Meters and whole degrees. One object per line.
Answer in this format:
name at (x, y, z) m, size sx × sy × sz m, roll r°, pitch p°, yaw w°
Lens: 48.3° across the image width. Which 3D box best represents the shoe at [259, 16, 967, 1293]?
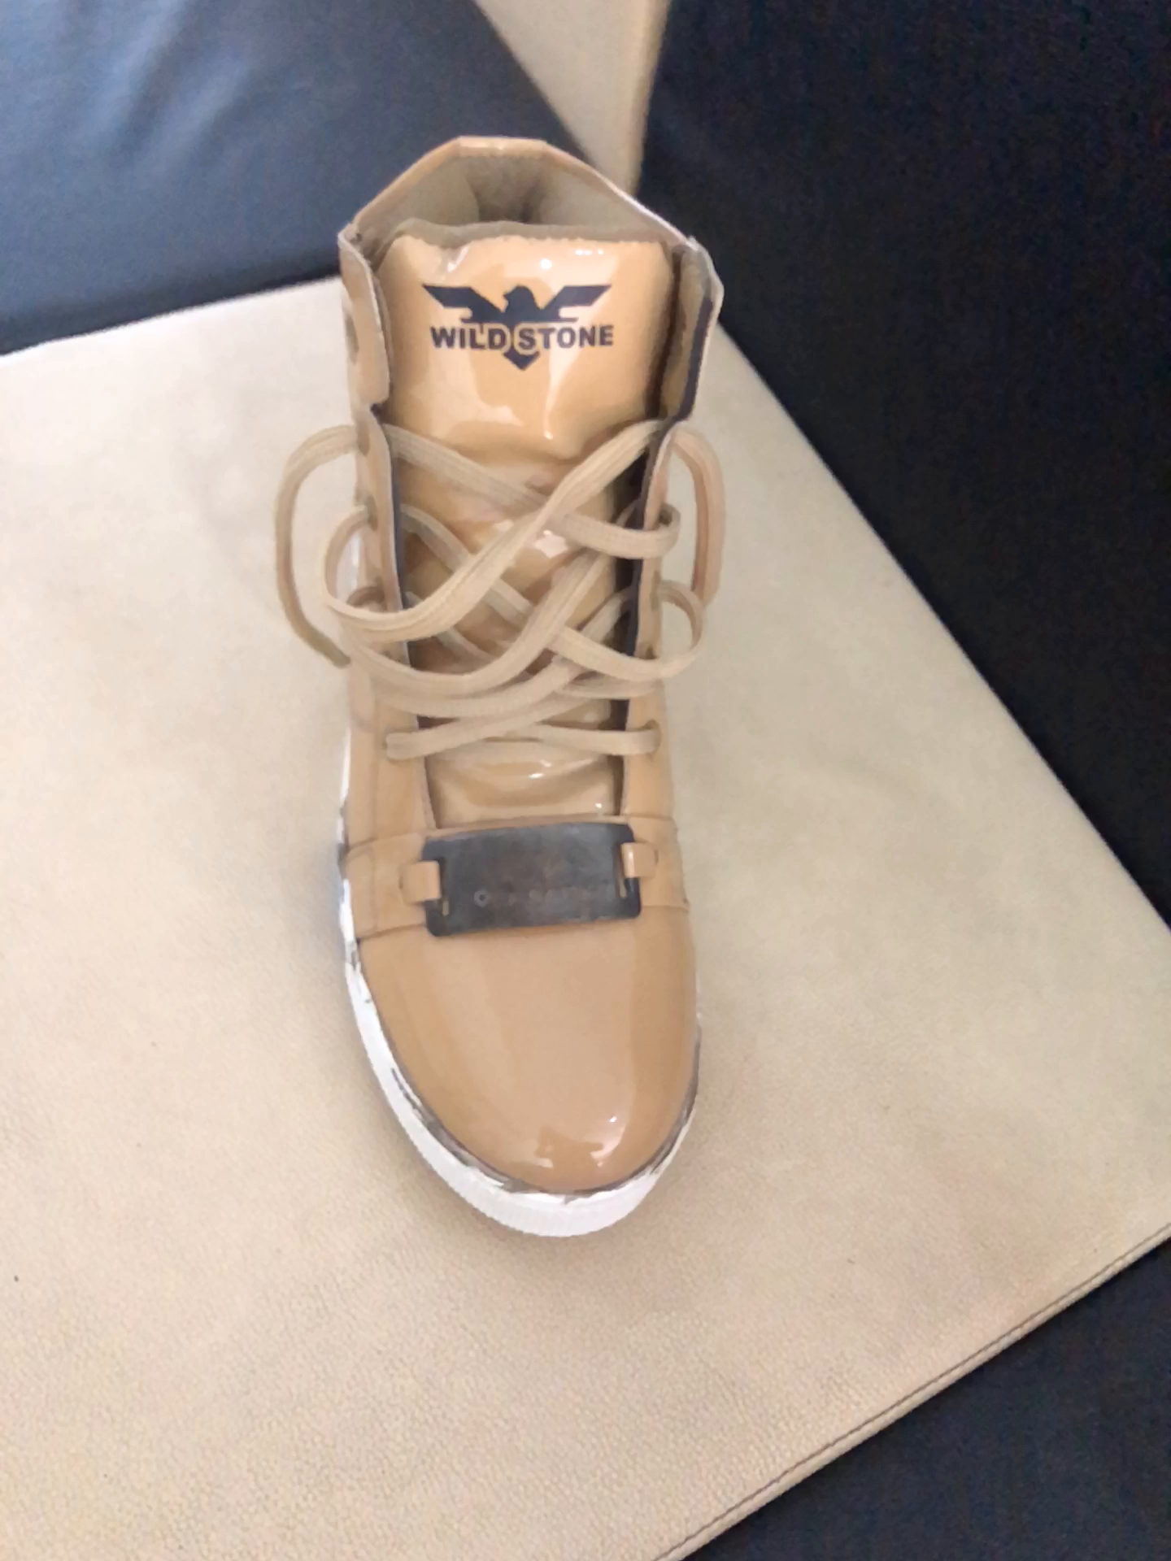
shoe at (-0.019, -0.036, 0.338) m, size 0.100 × 0.159 × 0.281 m, roll -5°, pitch 61°, yaw -10°
